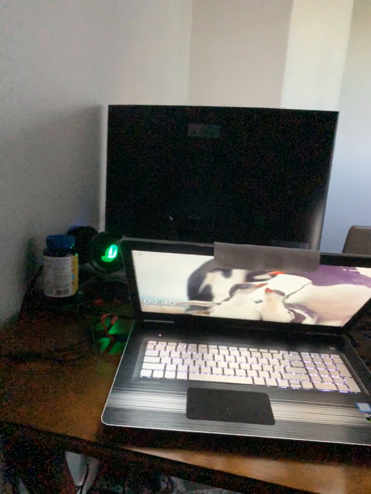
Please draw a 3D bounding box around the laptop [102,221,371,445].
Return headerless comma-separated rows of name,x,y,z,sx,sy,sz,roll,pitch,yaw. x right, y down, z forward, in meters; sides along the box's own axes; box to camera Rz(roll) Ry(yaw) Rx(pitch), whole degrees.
laptop,0.103,0.100,0.573,0.393,0.187,0.258,4,17,0
